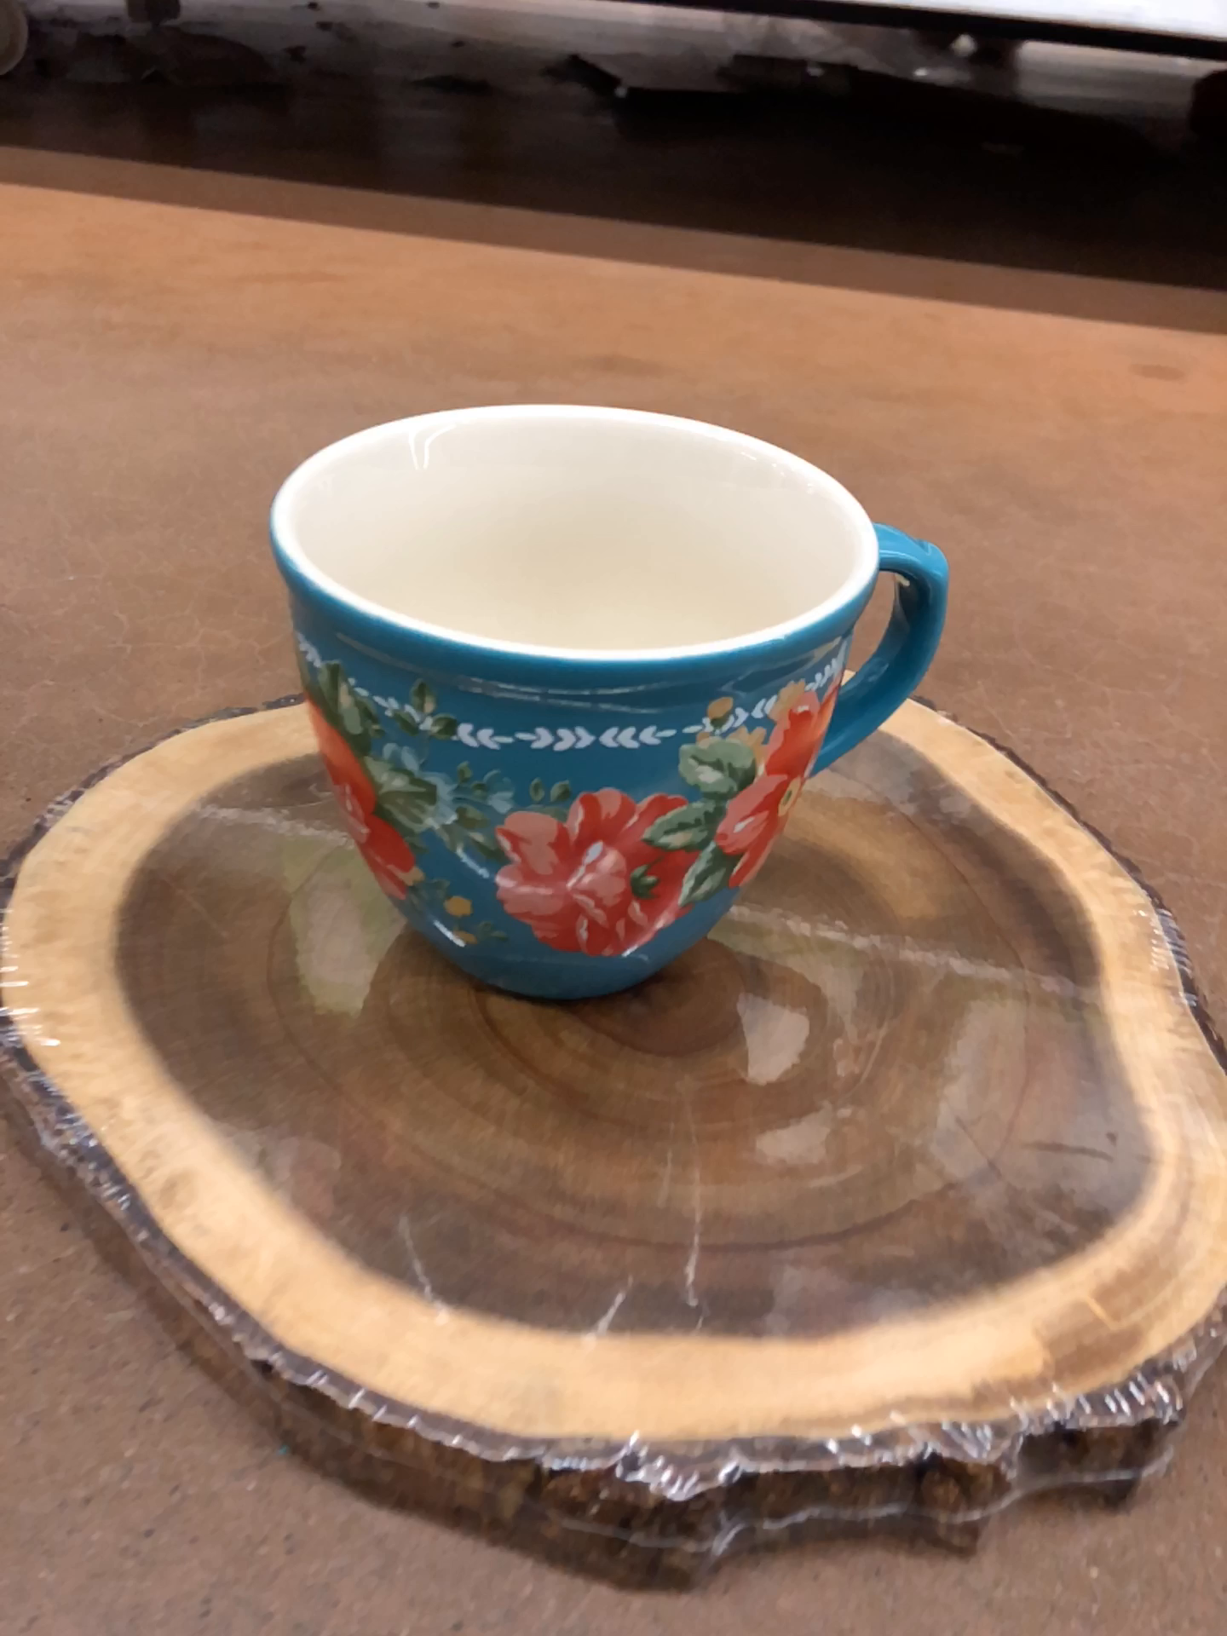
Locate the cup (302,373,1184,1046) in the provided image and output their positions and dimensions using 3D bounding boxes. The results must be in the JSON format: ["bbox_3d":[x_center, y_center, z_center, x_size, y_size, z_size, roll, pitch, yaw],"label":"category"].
[{"bbox_3d":[0.012,-0.028,0.259,0.130,0.080,0.100,-4,37,-12],"label":"cup"}]
